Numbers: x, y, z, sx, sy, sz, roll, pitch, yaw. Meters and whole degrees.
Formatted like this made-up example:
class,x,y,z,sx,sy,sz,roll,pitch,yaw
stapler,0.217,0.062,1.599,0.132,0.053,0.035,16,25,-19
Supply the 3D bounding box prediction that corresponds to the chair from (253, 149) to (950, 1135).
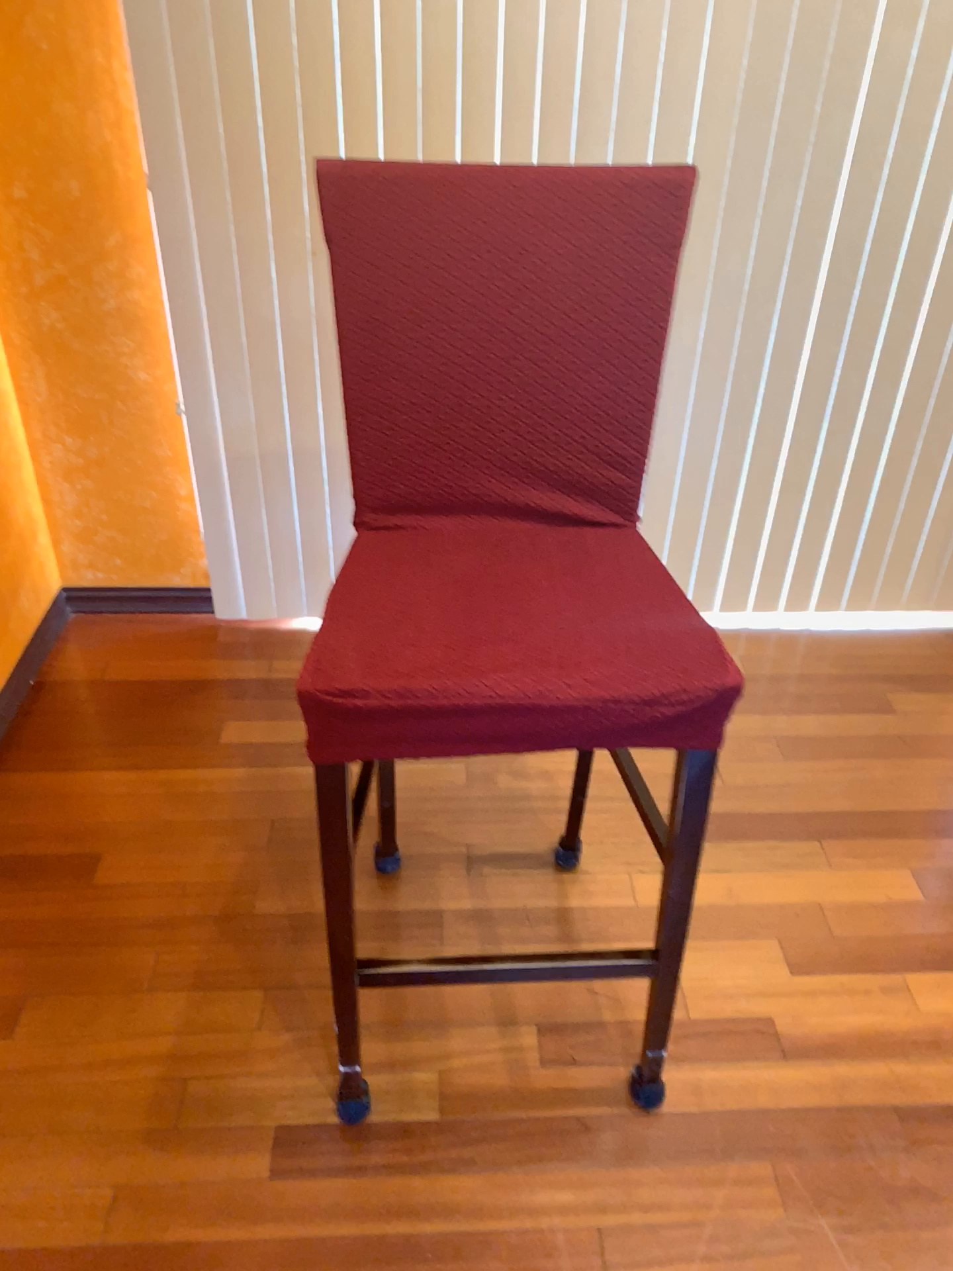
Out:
class,x,y,z,sx,sy,sz,roll,pitch,yaw
chair,0.052,0.038,1.150,0.469,1.027,0.507,-1,33,-5
